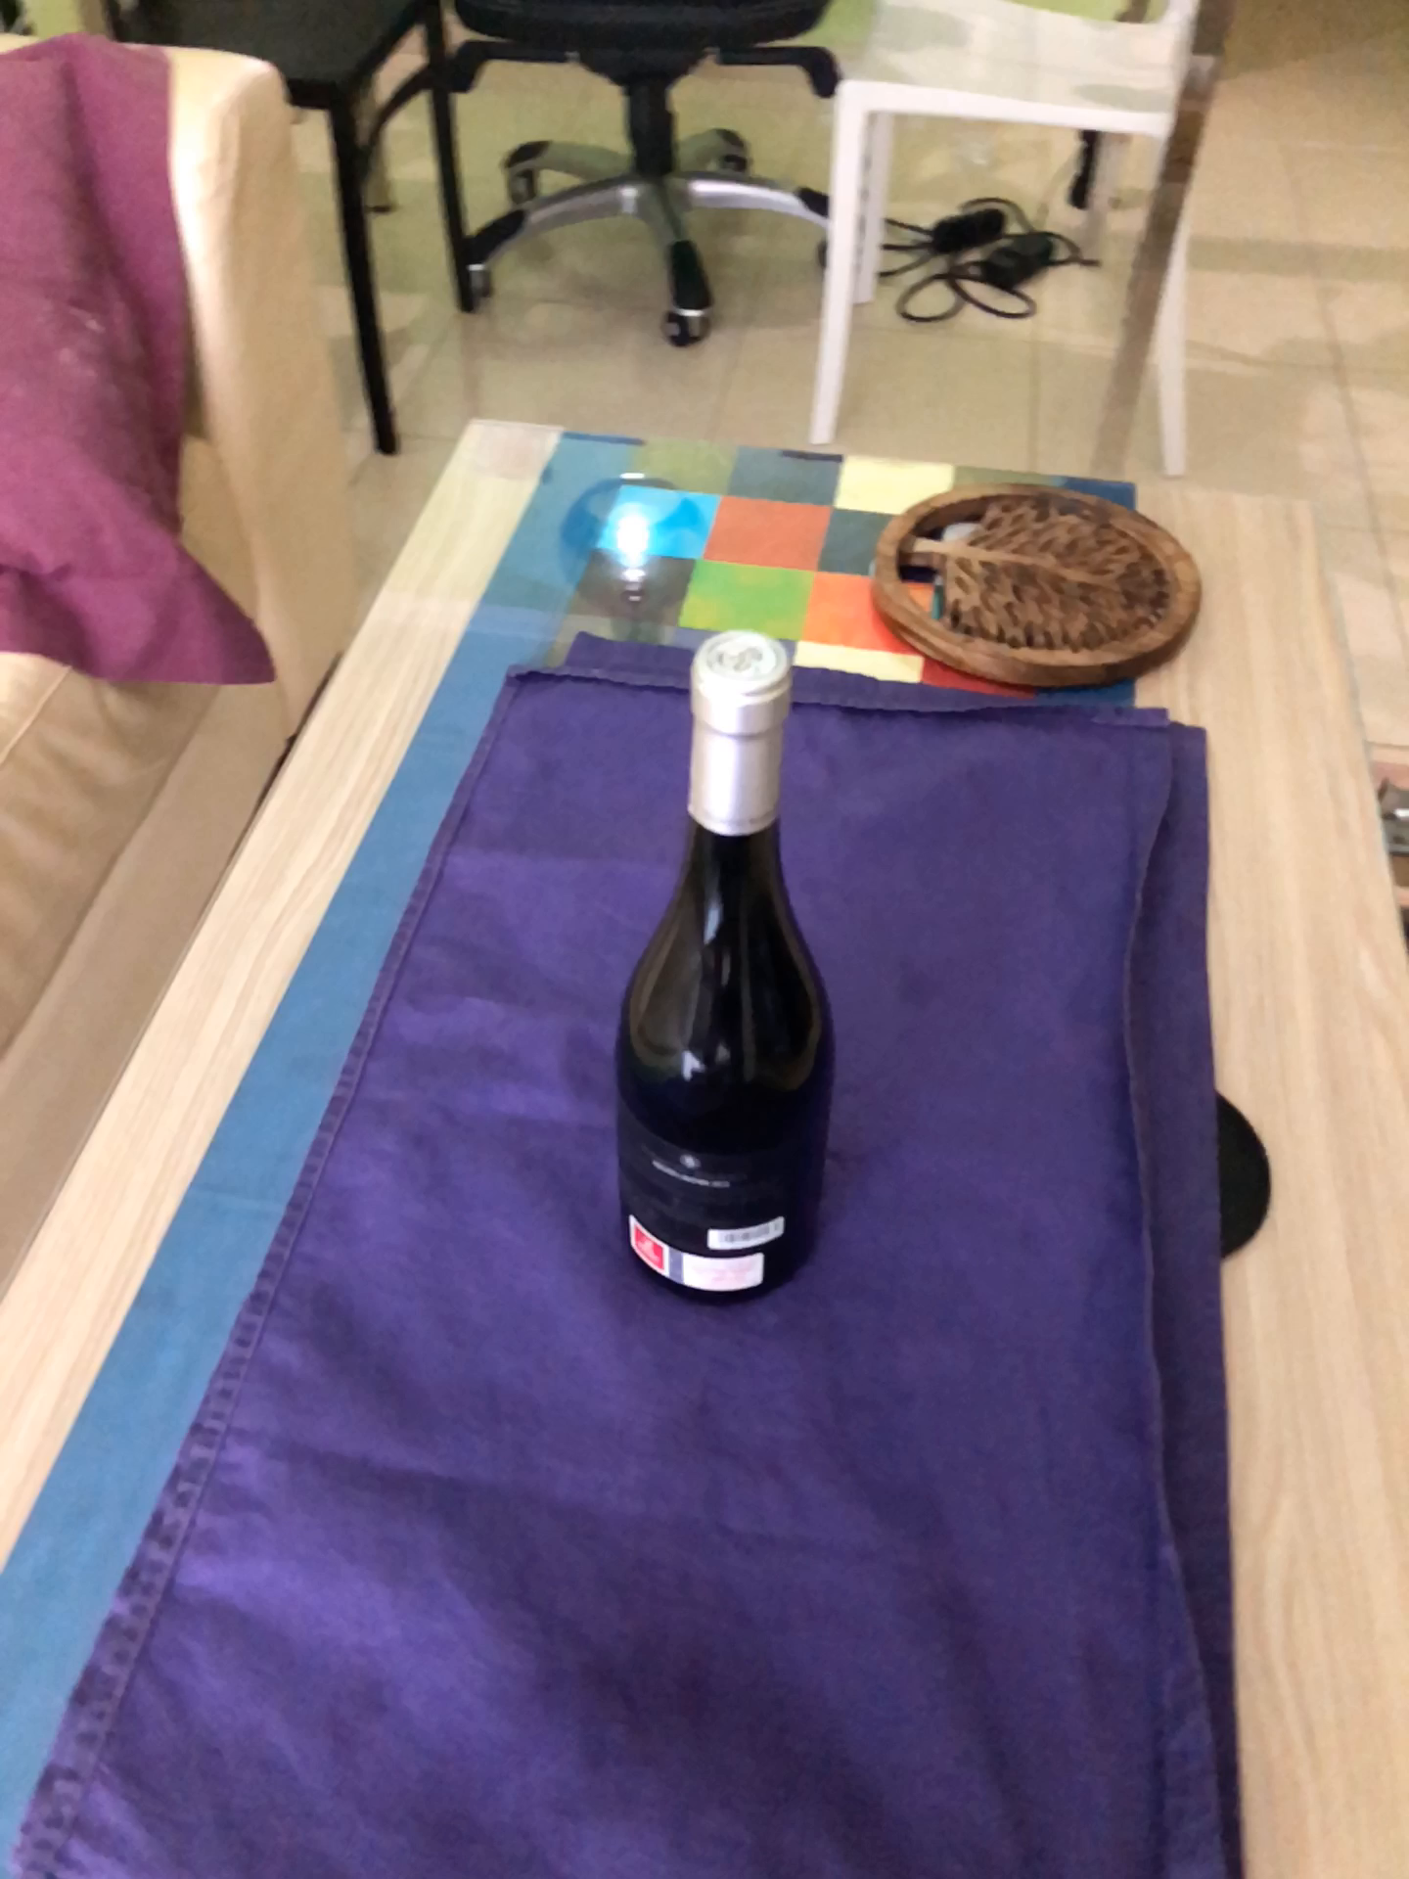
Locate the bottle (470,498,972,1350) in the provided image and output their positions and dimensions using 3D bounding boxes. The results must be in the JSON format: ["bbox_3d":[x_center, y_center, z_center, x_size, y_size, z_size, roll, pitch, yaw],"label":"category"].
[{"bbox_3d":[0.005,0.008,0.519,0.100,0.269,0.100,0,46,0],"label":"bottle"}]
